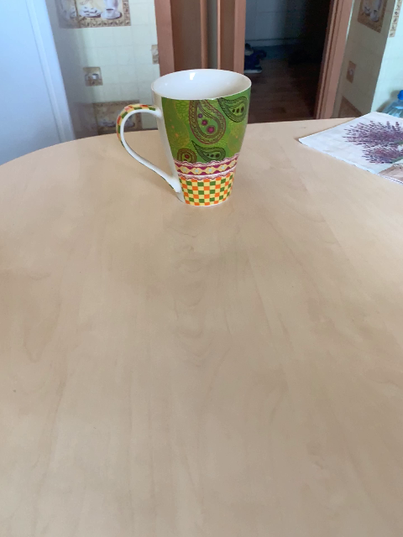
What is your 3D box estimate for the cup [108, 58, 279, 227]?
[{"bbox_3d":[-0.012,-0.125,0.400,0.130,0.109,0.110,-10,40,-9],"label":"cup"}]
